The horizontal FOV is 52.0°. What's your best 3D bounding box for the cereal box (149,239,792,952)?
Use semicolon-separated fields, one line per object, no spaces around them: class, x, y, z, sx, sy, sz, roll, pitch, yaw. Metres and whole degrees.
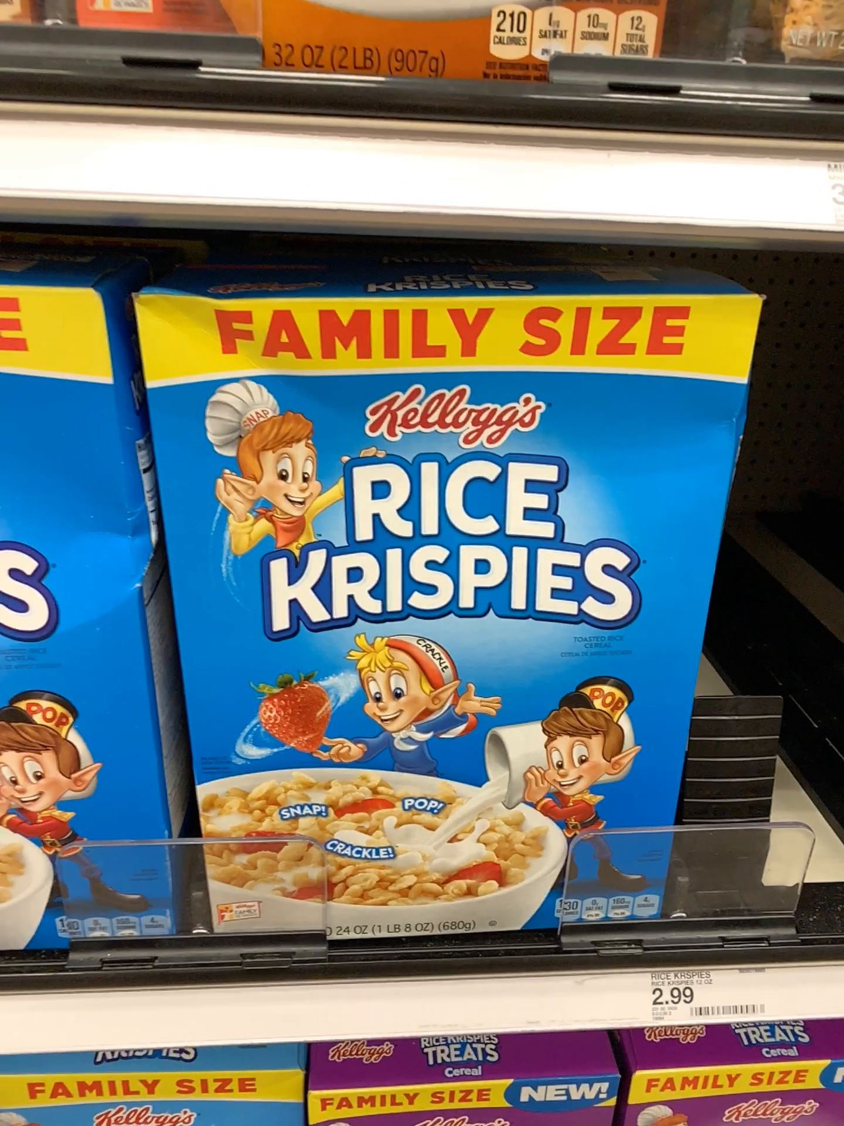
cereal box;0.012;0.026;0.449;0.250;0.348;0.100;-1;25;-7
